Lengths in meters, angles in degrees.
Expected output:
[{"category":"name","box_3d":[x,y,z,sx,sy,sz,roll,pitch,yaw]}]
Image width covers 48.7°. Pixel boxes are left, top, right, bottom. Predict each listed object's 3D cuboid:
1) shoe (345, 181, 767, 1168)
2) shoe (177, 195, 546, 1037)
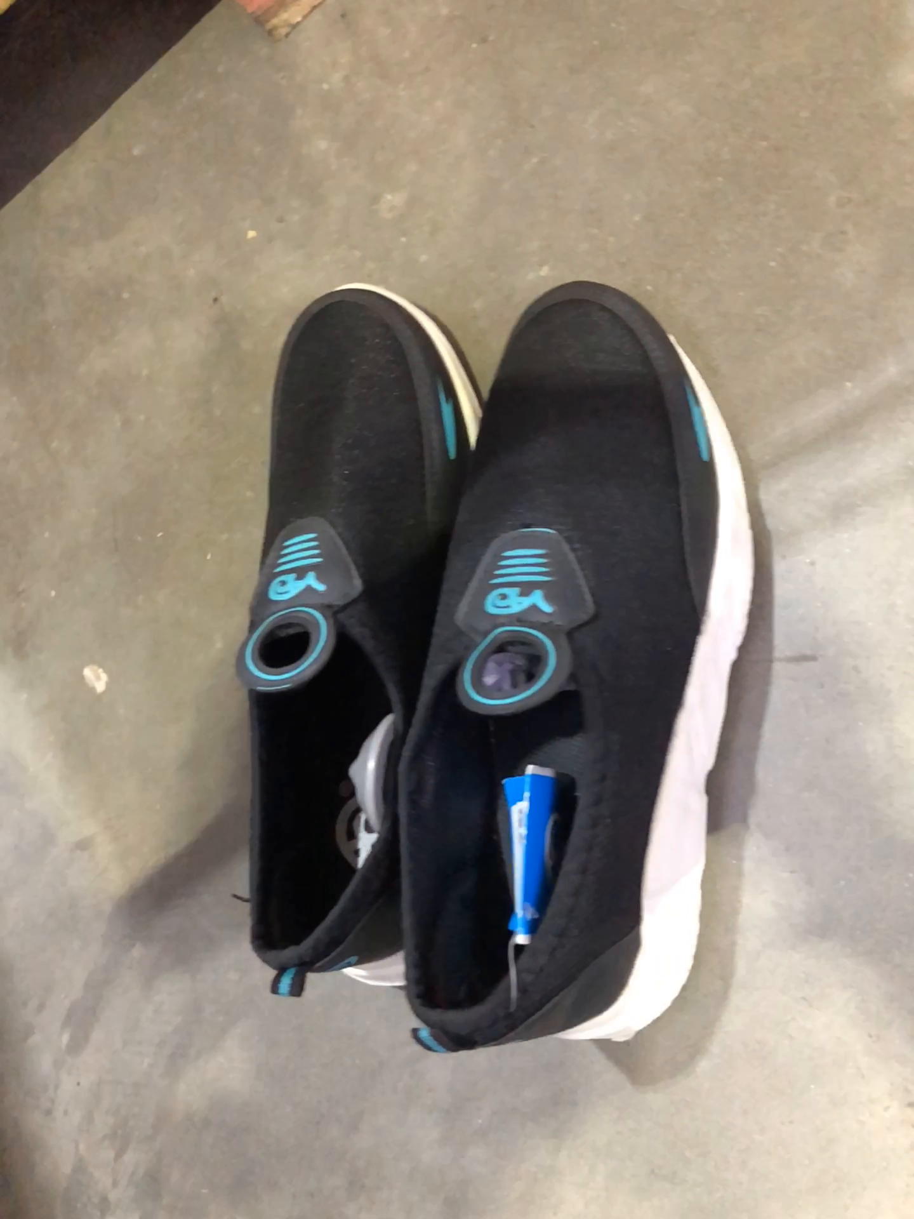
[{"category":"shoe","box_3d":[0.045,0.017,0.375,0.110,0.100,0.300,1,83,25]},{"category":"shoe","box_3d":[-0.037,0.004,0.423,0.110,0.100,0.300,-6,80,25]}]
